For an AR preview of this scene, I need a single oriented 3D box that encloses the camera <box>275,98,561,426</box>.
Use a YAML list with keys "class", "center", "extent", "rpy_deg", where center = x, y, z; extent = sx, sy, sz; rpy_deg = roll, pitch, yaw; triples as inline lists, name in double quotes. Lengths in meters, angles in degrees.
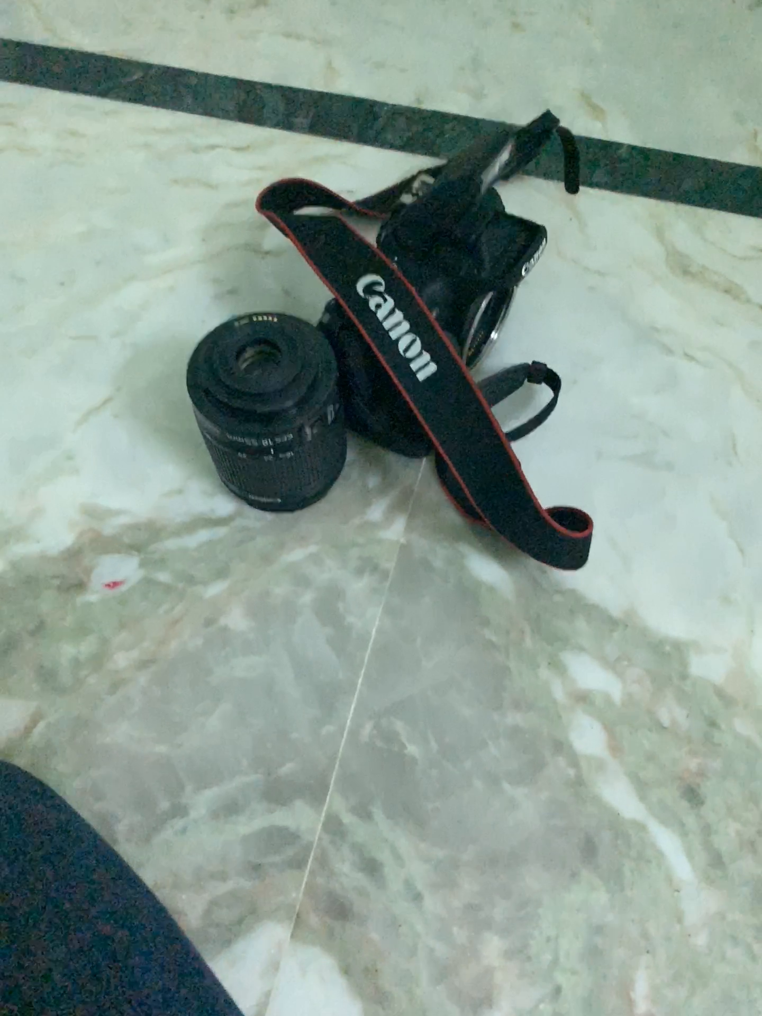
- class: "camera"
  center: [0.019, -0.119, 0.382]
  extent: [0.082, 0.078, 0.112]
  rpy_deg: [28, 66, 14]
